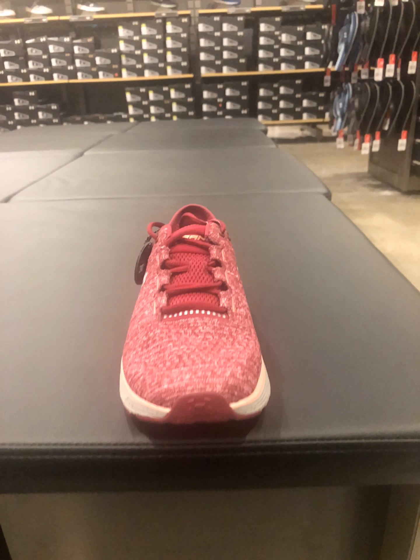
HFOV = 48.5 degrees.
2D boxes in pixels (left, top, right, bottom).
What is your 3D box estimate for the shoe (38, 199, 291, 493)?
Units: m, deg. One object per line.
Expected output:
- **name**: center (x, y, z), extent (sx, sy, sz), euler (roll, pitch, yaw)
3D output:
- **shoe**: center (-0.034, 0.018, 0.359), extent (0.121, 0.097, 0.254), euler (-5, 23, -6)
